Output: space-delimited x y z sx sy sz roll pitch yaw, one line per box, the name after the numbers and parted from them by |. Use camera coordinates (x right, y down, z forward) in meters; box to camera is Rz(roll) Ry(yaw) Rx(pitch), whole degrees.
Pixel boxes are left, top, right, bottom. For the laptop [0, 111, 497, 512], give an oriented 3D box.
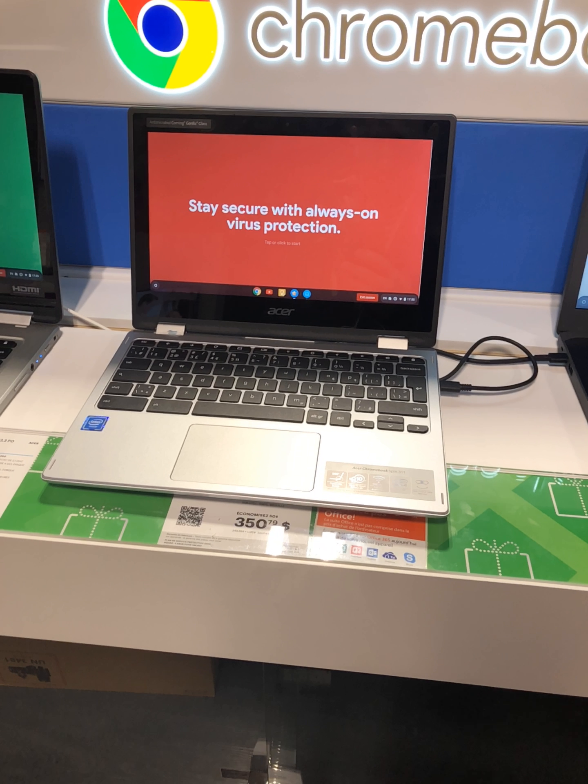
-0.023 -0.083 0.506 0.284 0.181 0.274 4 38 5 | laptop
